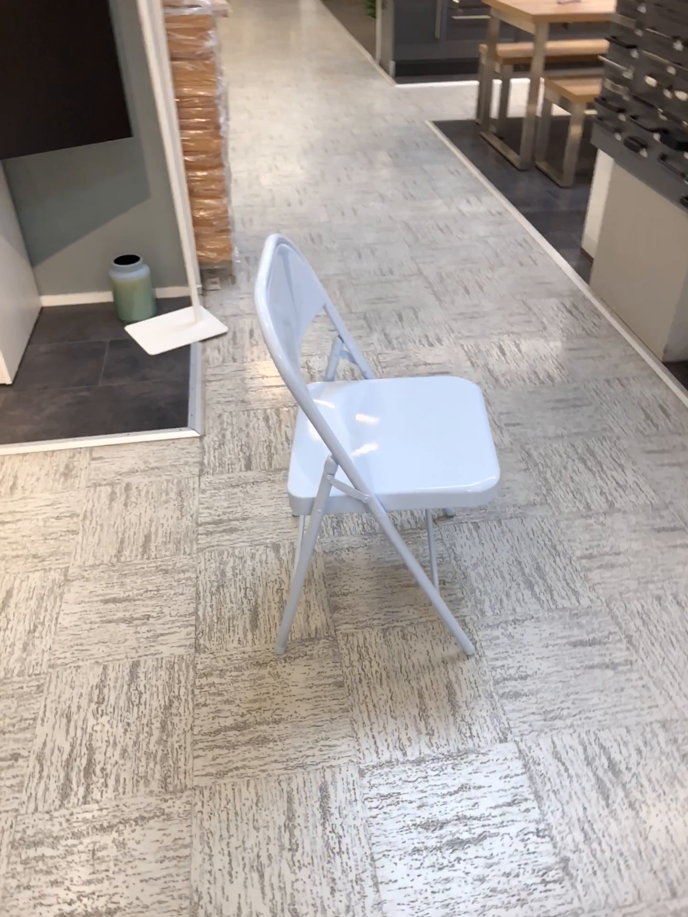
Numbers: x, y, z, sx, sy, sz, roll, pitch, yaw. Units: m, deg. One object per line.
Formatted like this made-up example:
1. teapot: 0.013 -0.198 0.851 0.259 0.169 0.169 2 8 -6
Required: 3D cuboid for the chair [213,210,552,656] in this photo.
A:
1. chair: 0.060 -0.048 1.479 0.480 0.706 0.513 0 37 1
